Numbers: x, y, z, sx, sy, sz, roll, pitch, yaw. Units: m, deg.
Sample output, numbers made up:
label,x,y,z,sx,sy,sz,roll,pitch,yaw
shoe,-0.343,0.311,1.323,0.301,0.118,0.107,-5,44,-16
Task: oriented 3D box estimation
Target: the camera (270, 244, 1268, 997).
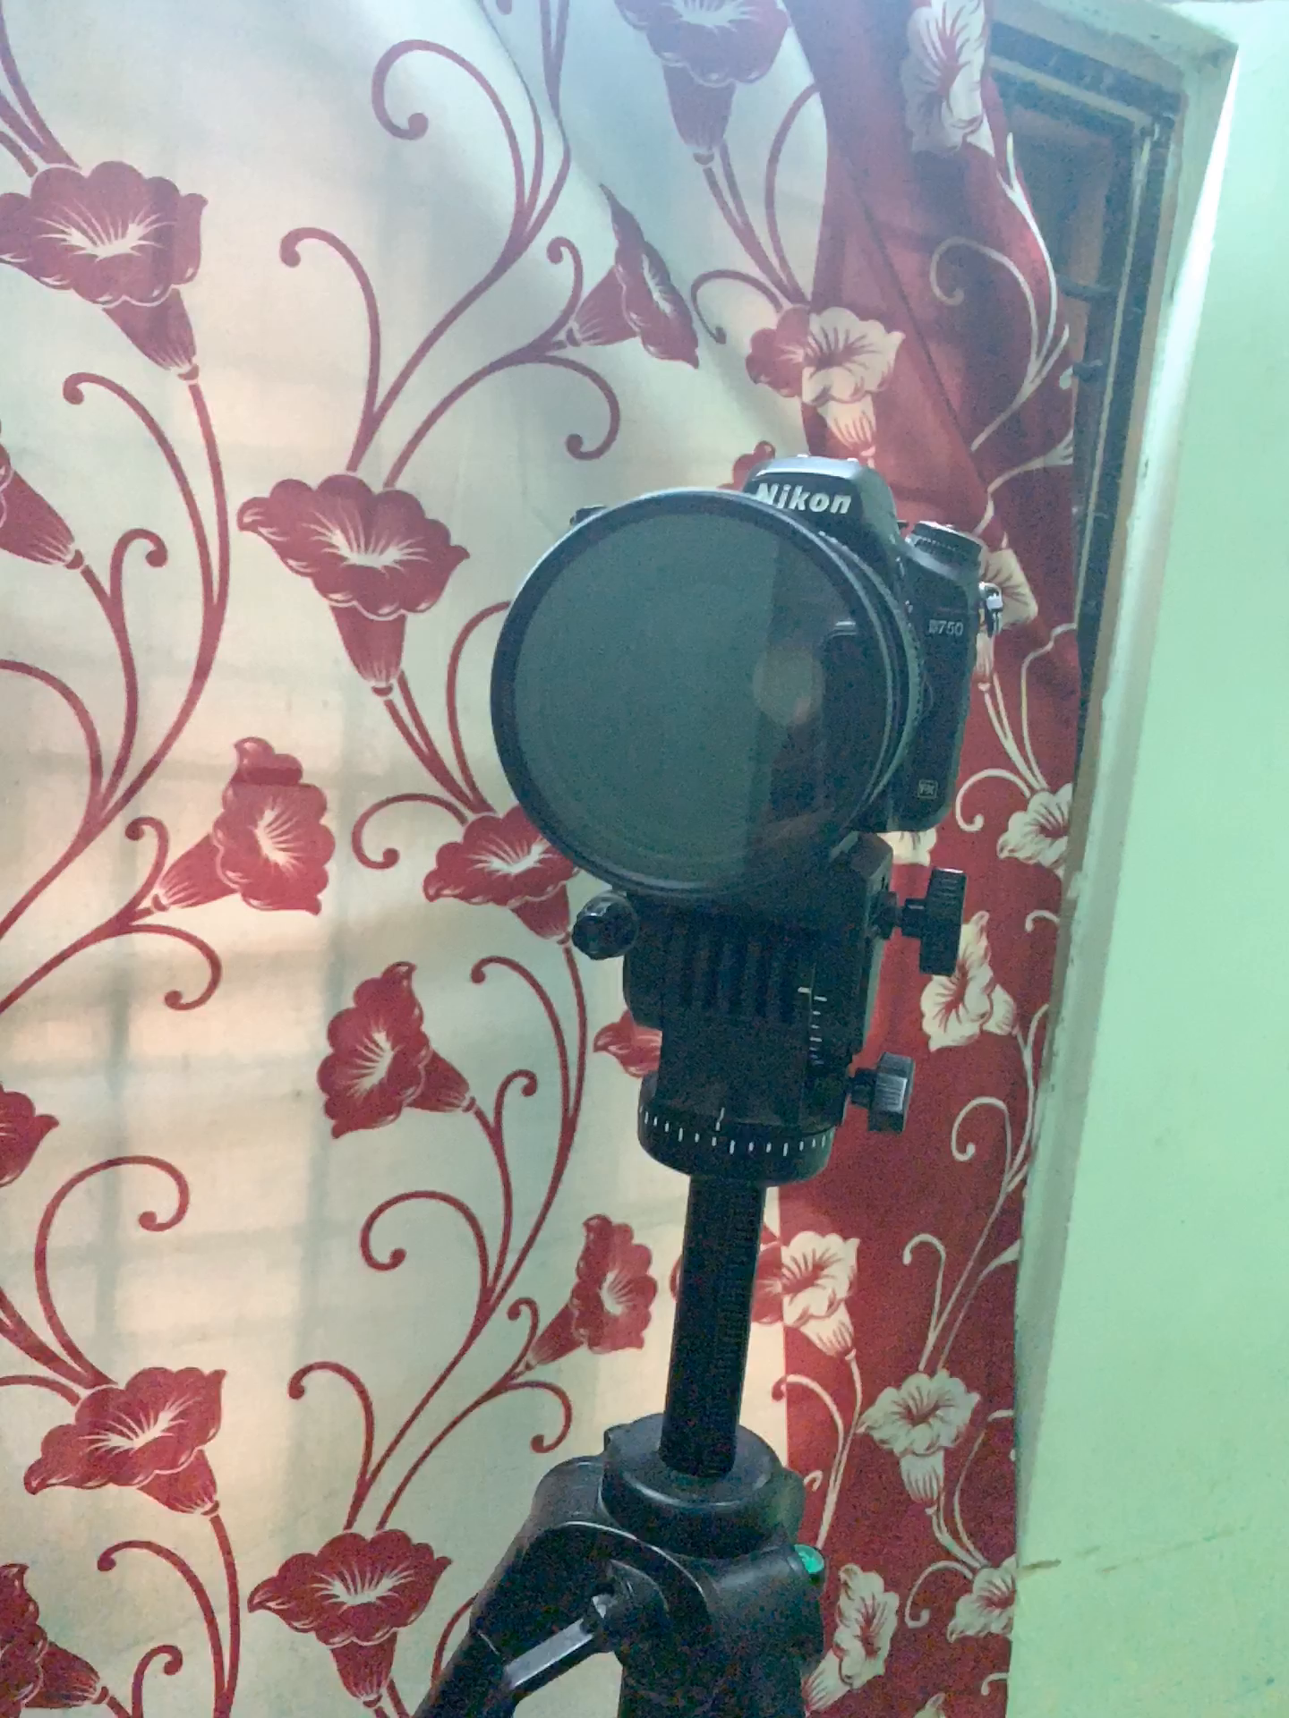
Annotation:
label,x,y,z,sx,sy,sz,roll,pitch,yaw
camera,0.030,-0.055,0.329,0.172,0.122,0.170,7,7,9
